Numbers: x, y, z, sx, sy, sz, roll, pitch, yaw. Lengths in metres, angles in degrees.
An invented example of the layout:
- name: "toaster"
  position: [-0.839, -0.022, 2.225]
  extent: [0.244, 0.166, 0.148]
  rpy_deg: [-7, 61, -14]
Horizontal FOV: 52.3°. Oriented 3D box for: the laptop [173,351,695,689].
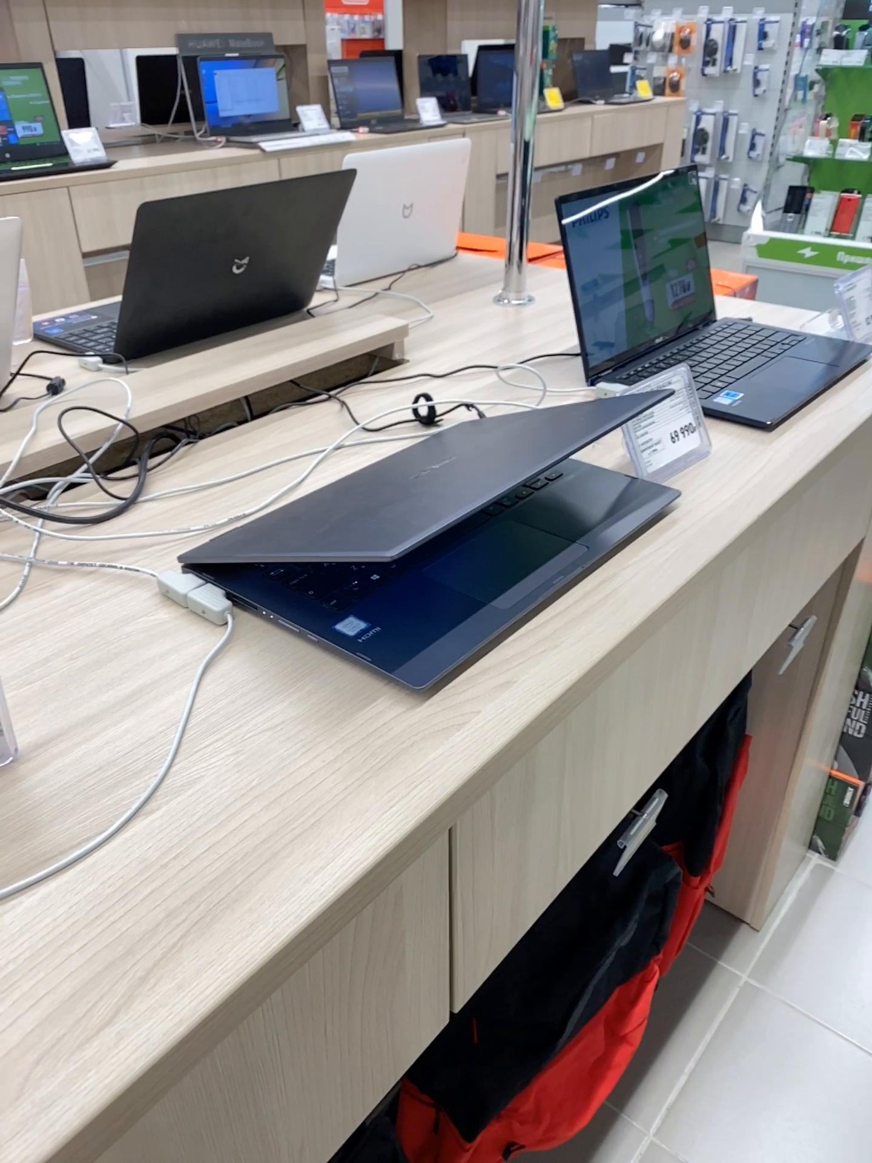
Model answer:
- name: "laptop"
  position: [0.013, -0.075, 0.666]
  extent: [0.226, 0.079, 0.331]
  rpy_deg: [22, 37, 33]
